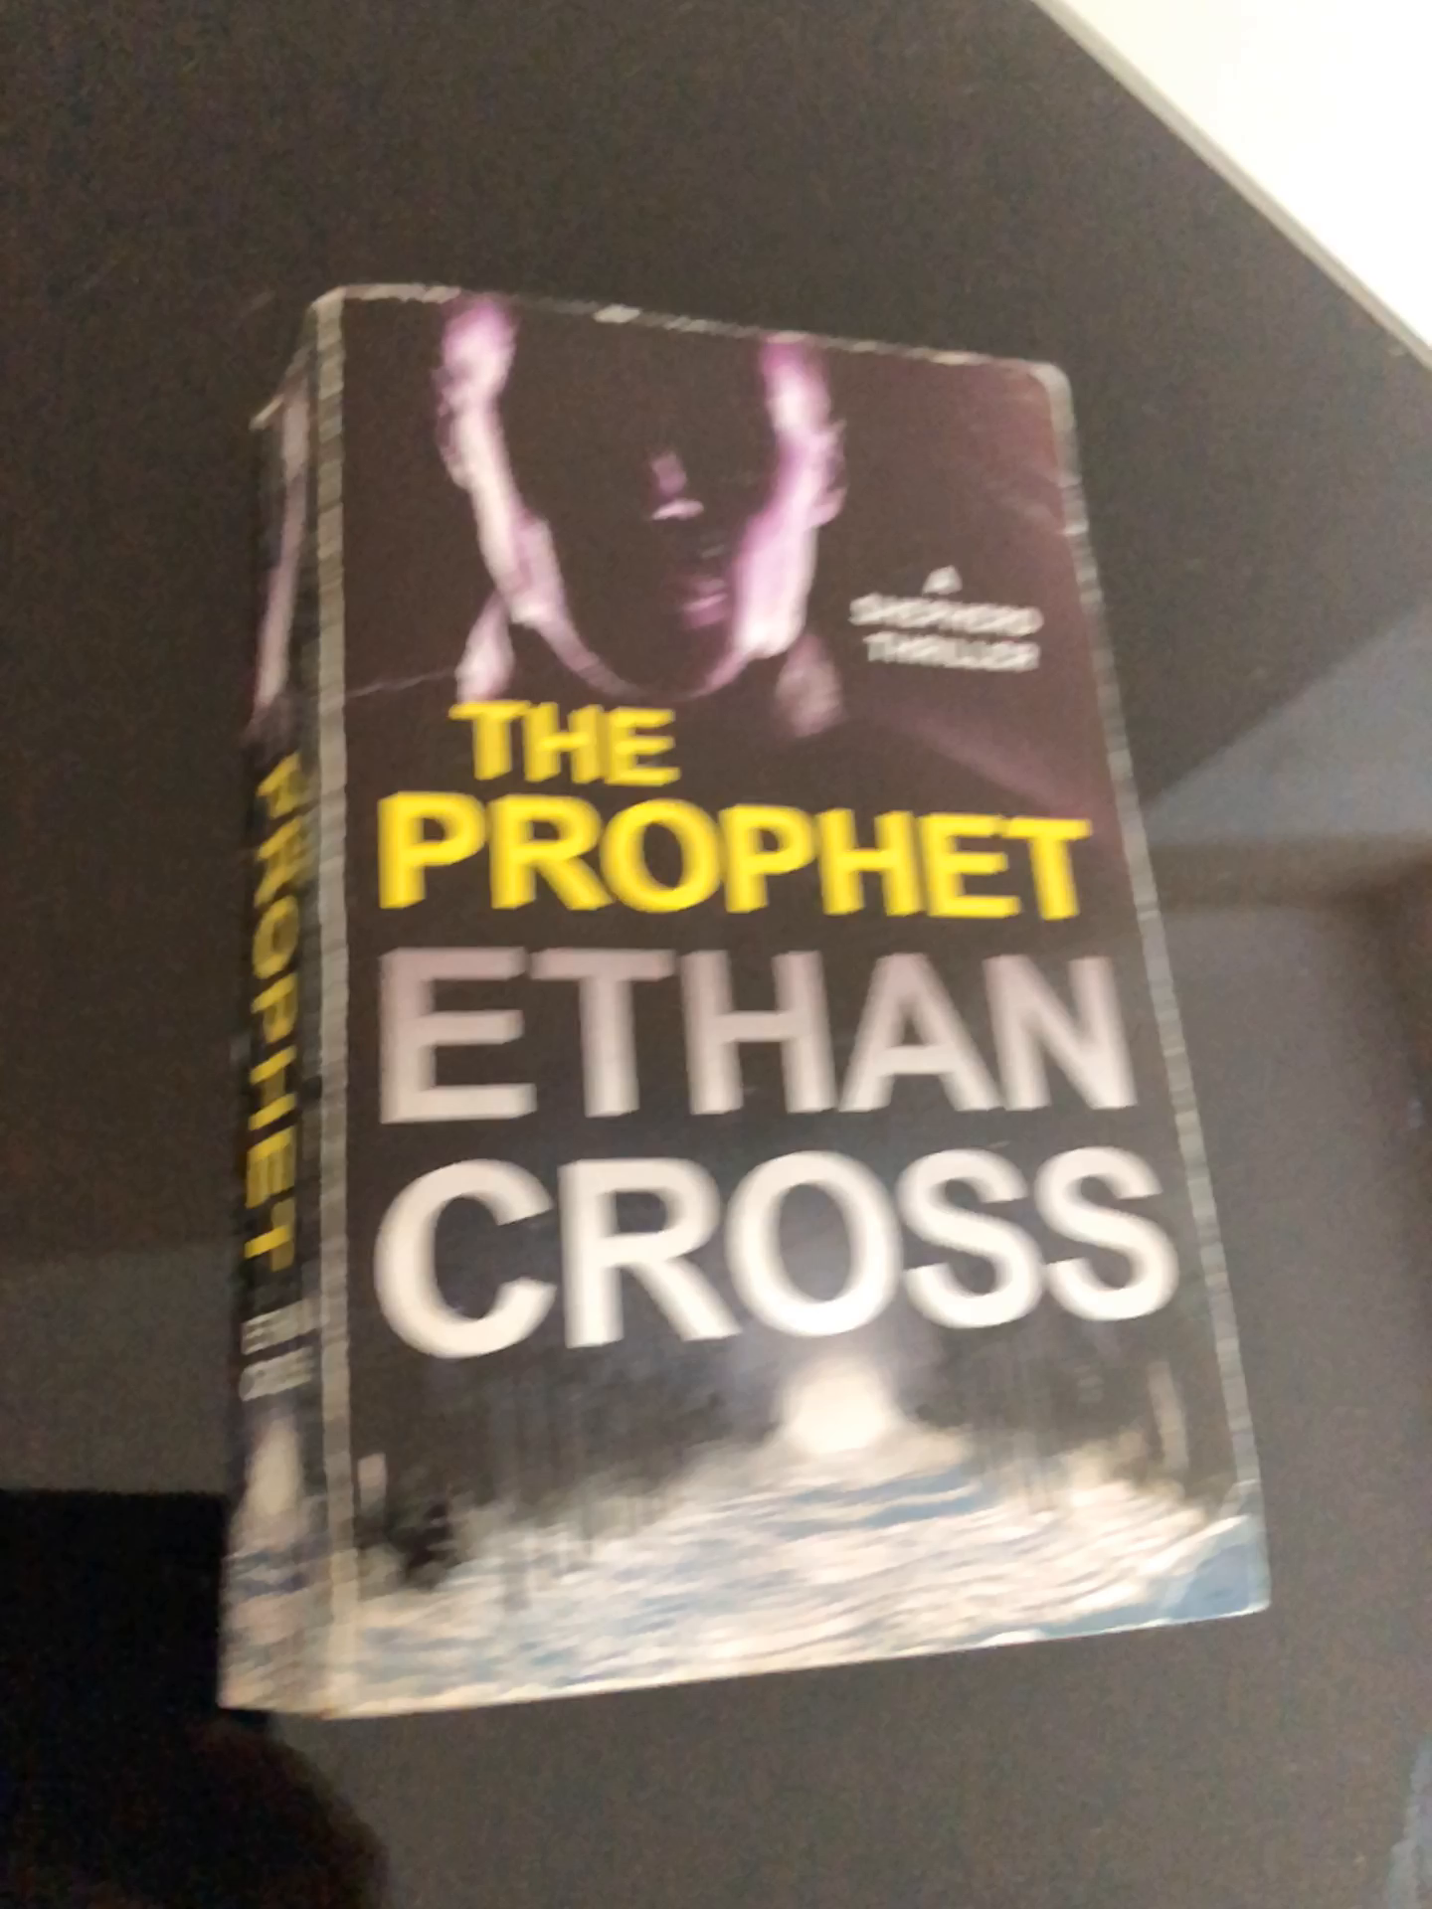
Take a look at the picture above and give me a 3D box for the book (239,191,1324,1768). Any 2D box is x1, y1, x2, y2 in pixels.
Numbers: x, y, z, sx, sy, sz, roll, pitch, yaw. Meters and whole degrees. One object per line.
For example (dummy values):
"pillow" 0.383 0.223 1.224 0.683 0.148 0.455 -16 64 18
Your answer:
"book" 0.000 -0.003 0.210 0.115 0.040 0.179 1 71 -17
